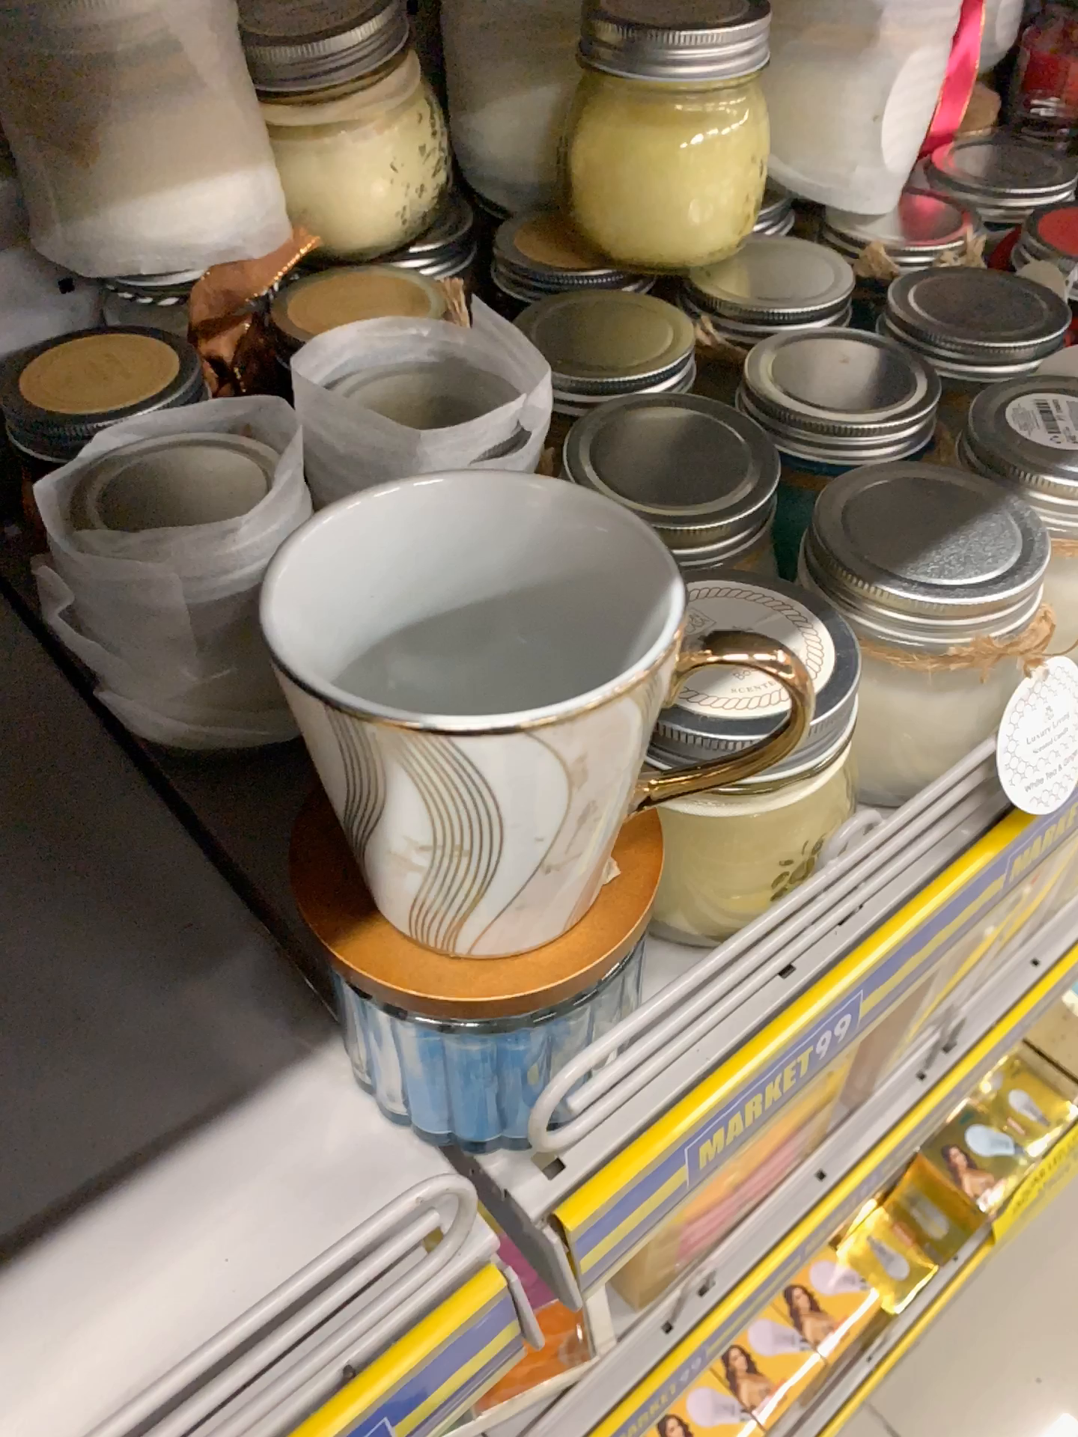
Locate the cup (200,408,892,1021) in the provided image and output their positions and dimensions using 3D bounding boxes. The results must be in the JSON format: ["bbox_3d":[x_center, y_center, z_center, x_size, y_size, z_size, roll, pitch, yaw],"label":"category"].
[{"bbox_3d":[0.004,-0.002,0.193,0.090,0.070,0.070,5,46,5],"label":"cup"}]
